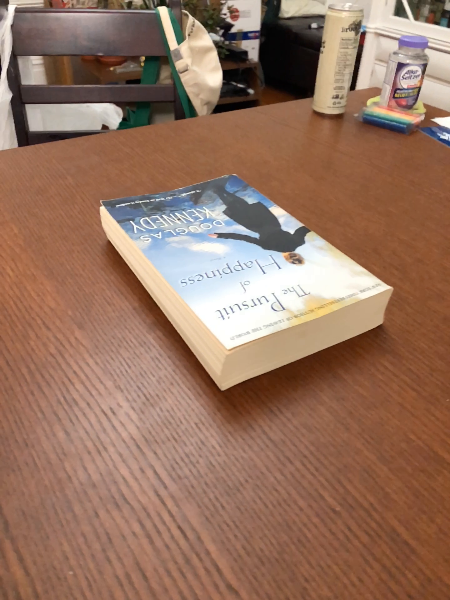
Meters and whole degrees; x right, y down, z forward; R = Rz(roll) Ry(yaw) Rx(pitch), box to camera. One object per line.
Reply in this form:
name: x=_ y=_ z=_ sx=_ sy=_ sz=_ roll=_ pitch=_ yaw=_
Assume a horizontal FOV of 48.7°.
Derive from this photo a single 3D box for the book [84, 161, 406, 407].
book: x=0.000 y=-0.038 z=0.422 sx=0.160 sy=0.050 sz=0.241 roll=-18 pitch=42 yaw=-25
